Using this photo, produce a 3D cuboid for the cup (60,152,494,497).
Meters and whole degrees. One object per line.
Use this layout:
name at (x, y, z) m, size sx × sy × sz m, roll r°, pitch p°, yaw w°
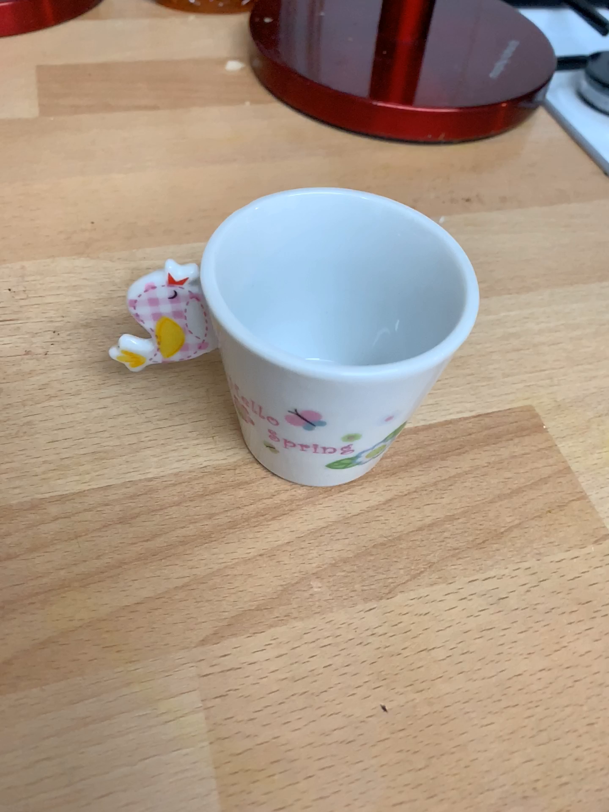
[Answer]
cup at (-0.006, -0.019, 0.156) m, size 0.080 × 0.050 × 0.060 m, roll 4°, pitch 52°, yaw -4°
